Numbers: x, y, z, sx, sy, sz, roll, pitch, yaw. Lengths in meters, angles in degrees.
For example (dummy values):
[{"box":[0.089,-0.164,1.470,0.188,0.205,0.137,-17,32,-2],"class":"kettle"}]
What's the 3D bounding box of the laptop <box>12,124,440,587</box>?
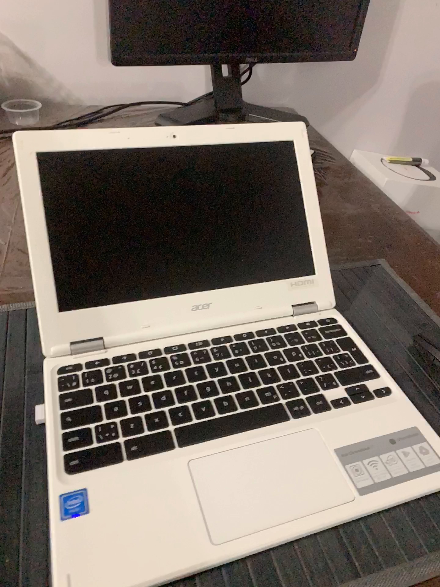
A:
[{"box":[0.004,-0.003,0.363,0.284,0.142,0.329,-8,41,-17],"class":"laptop"}]
